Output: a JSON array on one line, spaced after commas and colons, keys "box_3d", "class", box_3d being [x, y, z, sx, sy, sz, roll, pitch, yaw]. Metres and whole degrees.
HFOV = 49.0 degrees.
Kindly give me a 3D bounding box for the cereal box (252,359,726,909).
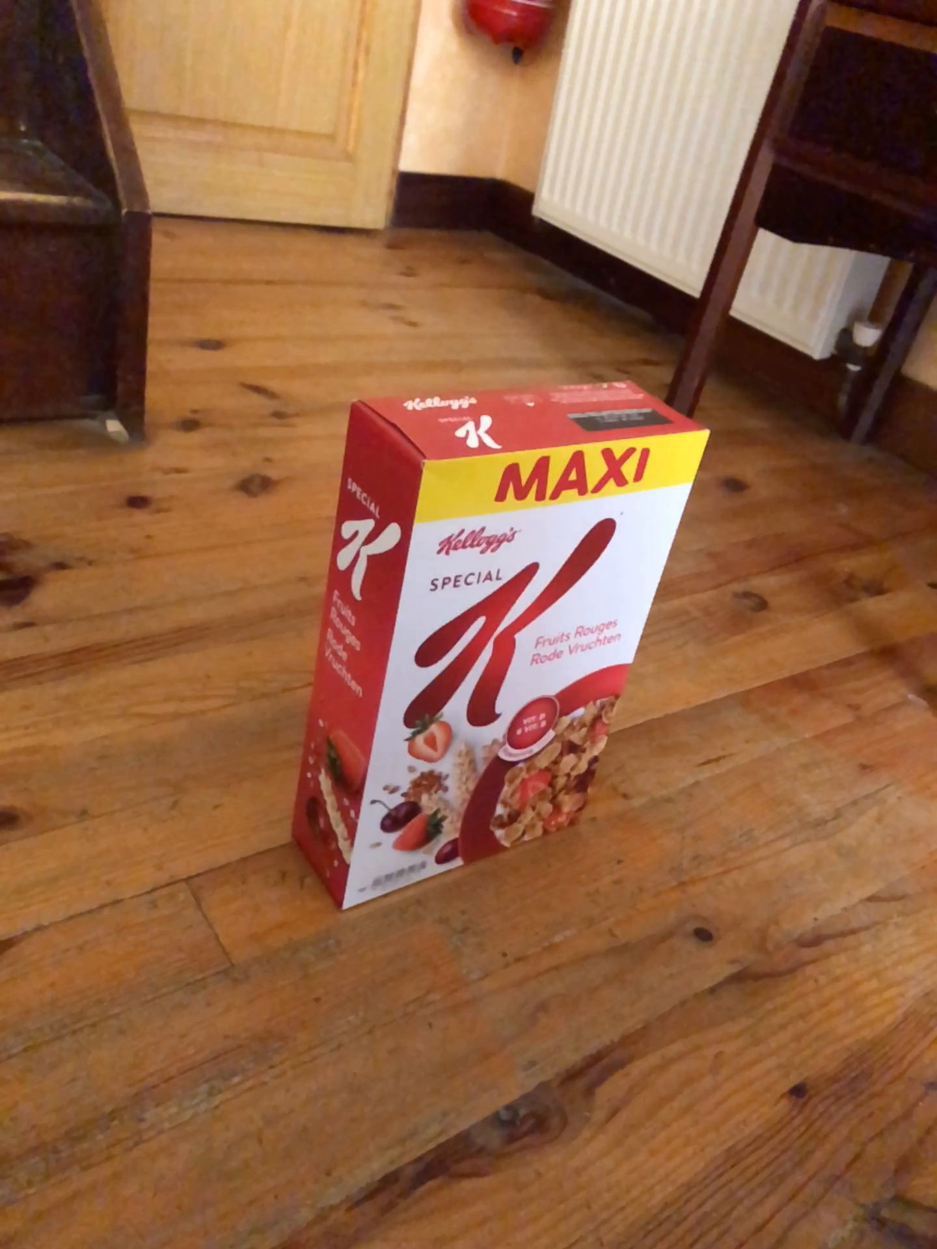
[{"box_3d": [0.002, 0.002, 0.605, 0.211, 0.288, 0.090, -12, 40, -35], "class": "cereal box"}]
